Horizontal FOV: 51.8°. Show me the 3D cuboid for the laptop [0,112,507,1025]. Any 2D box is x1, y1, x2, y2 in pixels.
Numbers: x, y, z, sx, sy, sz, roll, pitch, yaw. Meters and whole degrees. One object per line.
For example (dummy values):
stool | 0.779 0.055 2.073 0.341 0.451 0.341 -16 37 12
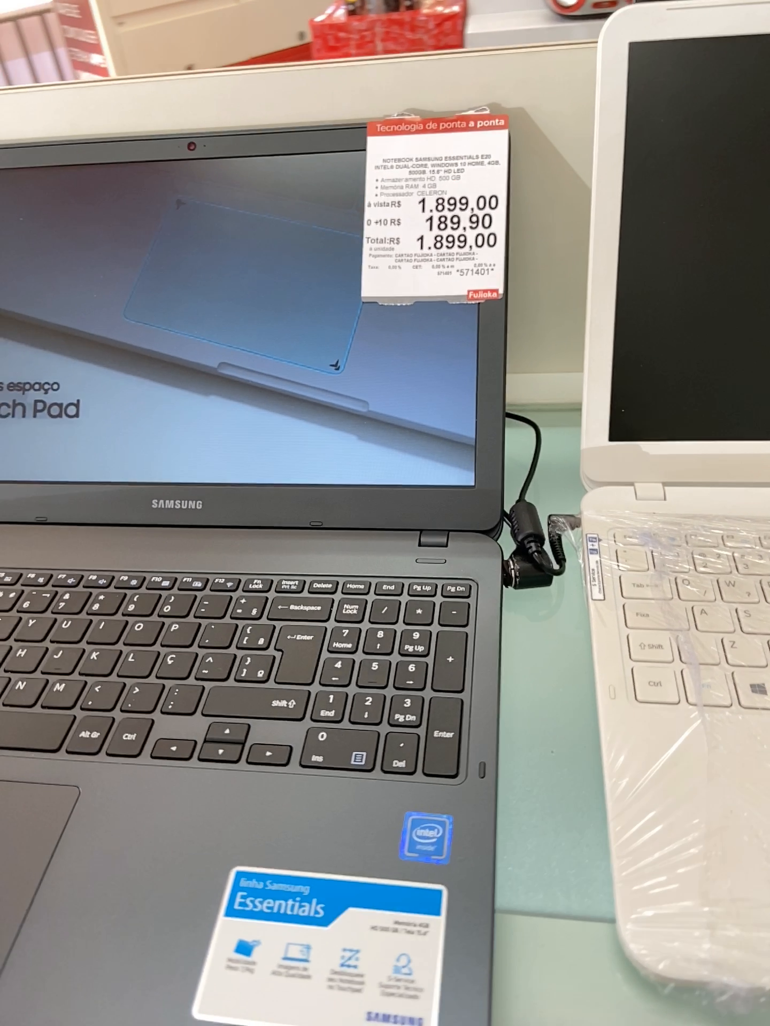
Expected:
laptop | -0.135 -0.027 0.369 0.367 0.157 0.414 0 41 10
